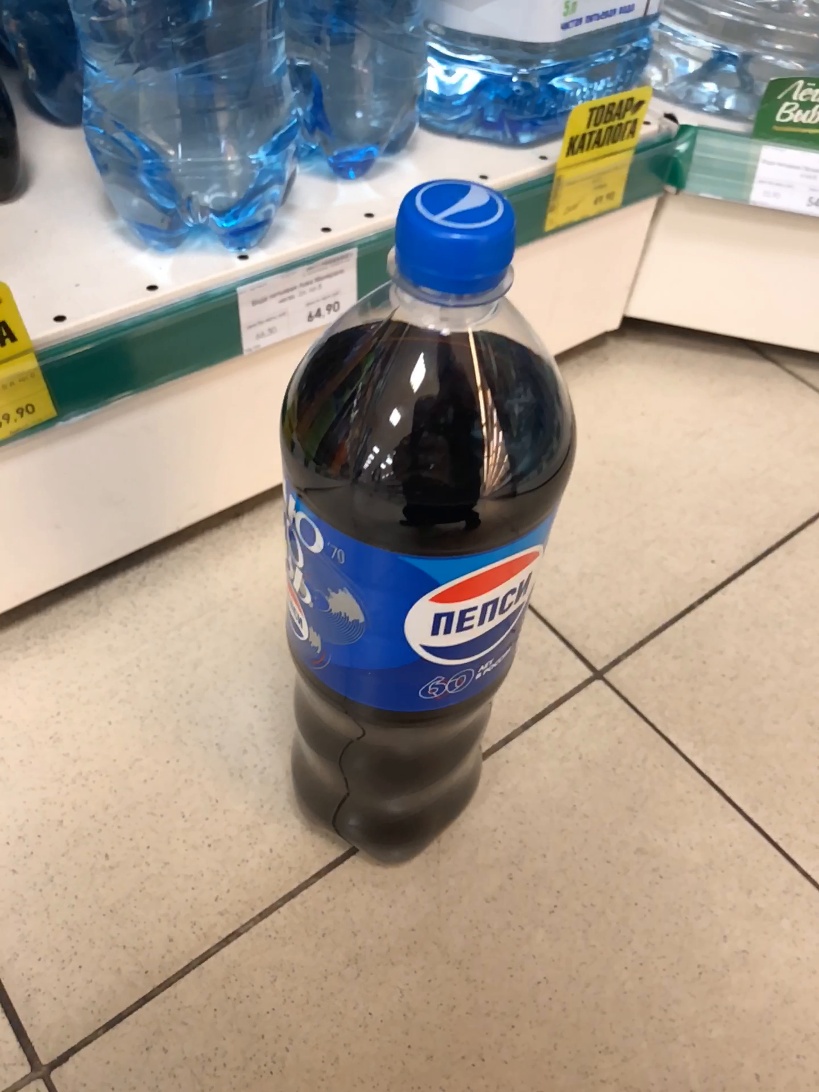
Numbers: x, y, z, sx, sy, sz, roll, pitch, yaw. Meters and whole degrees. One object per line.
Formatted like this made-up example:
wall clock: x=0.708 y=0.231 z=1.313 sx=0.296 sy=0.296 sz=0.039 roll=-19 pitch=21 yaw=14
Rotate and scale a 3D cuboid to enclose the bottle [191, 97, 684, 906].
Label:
bottle: x=-0.005 y=0.018 z=0.342 sx=0.089 sy=0.315 sz=0.085 roll=3 pitch=49 yaw=-3
